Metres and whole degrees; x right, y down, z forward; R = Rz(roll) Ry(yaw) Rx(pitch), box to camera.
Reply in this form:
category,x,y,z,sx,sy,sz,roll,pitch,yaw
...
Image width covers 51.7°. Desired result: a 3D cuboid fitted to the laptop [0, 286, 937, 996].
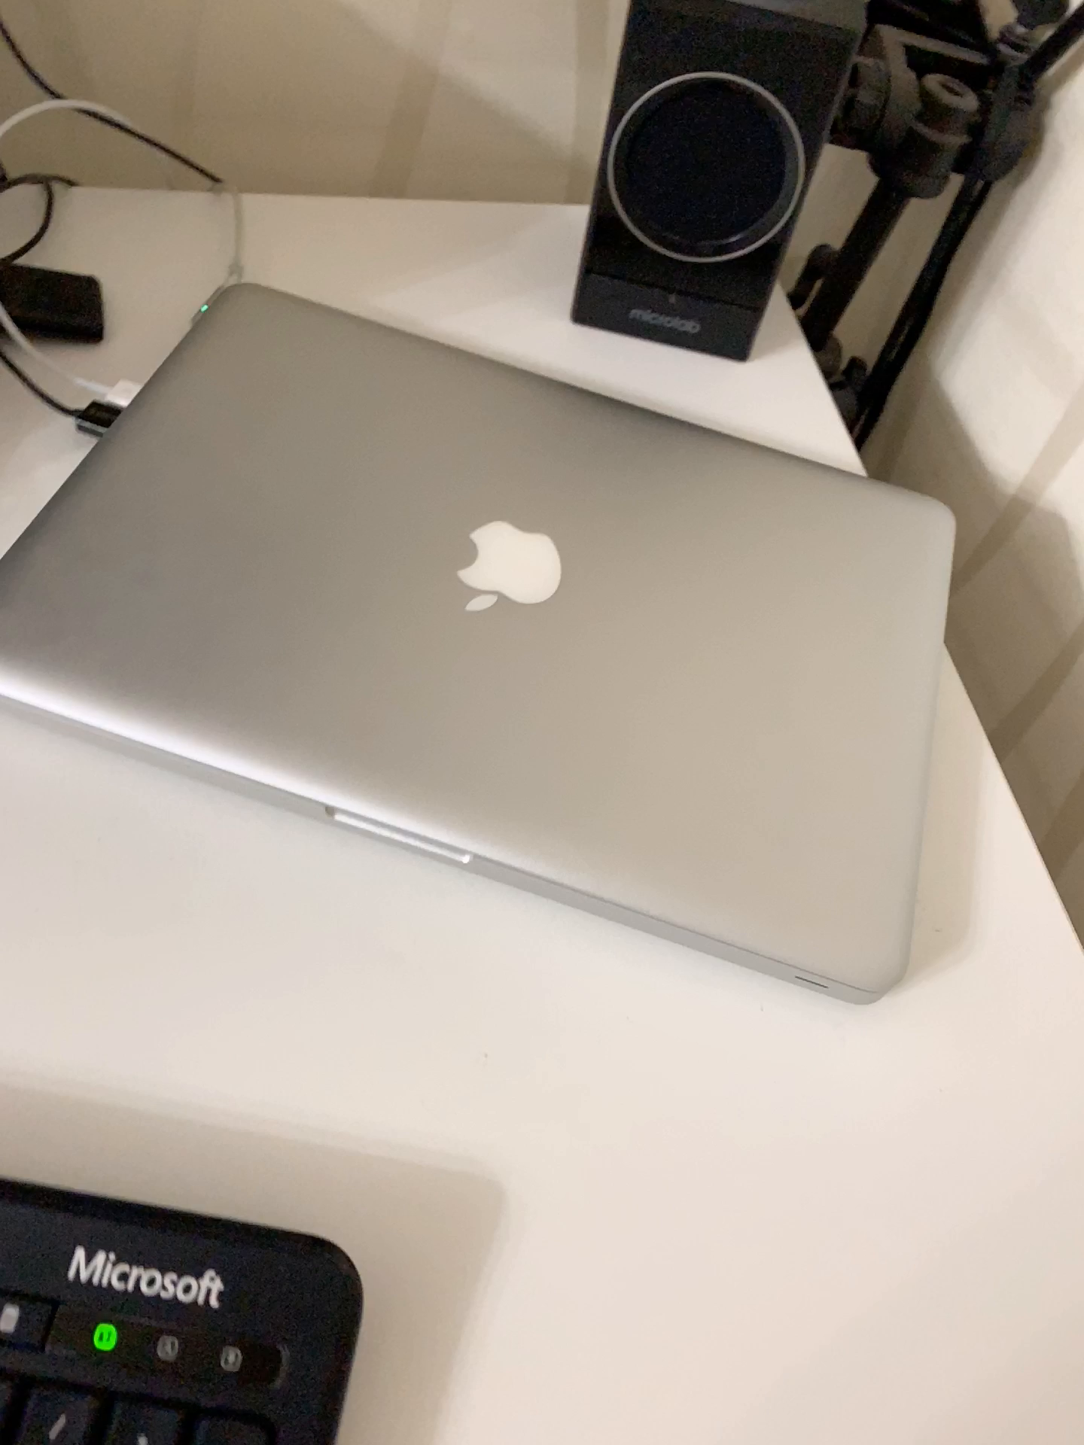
category,x,y,z,sx,sy,sz,roll,pitch,yaw
laptop,-0.016,-0.050,0.406,0.304,0.011,0.208,18,56,4
